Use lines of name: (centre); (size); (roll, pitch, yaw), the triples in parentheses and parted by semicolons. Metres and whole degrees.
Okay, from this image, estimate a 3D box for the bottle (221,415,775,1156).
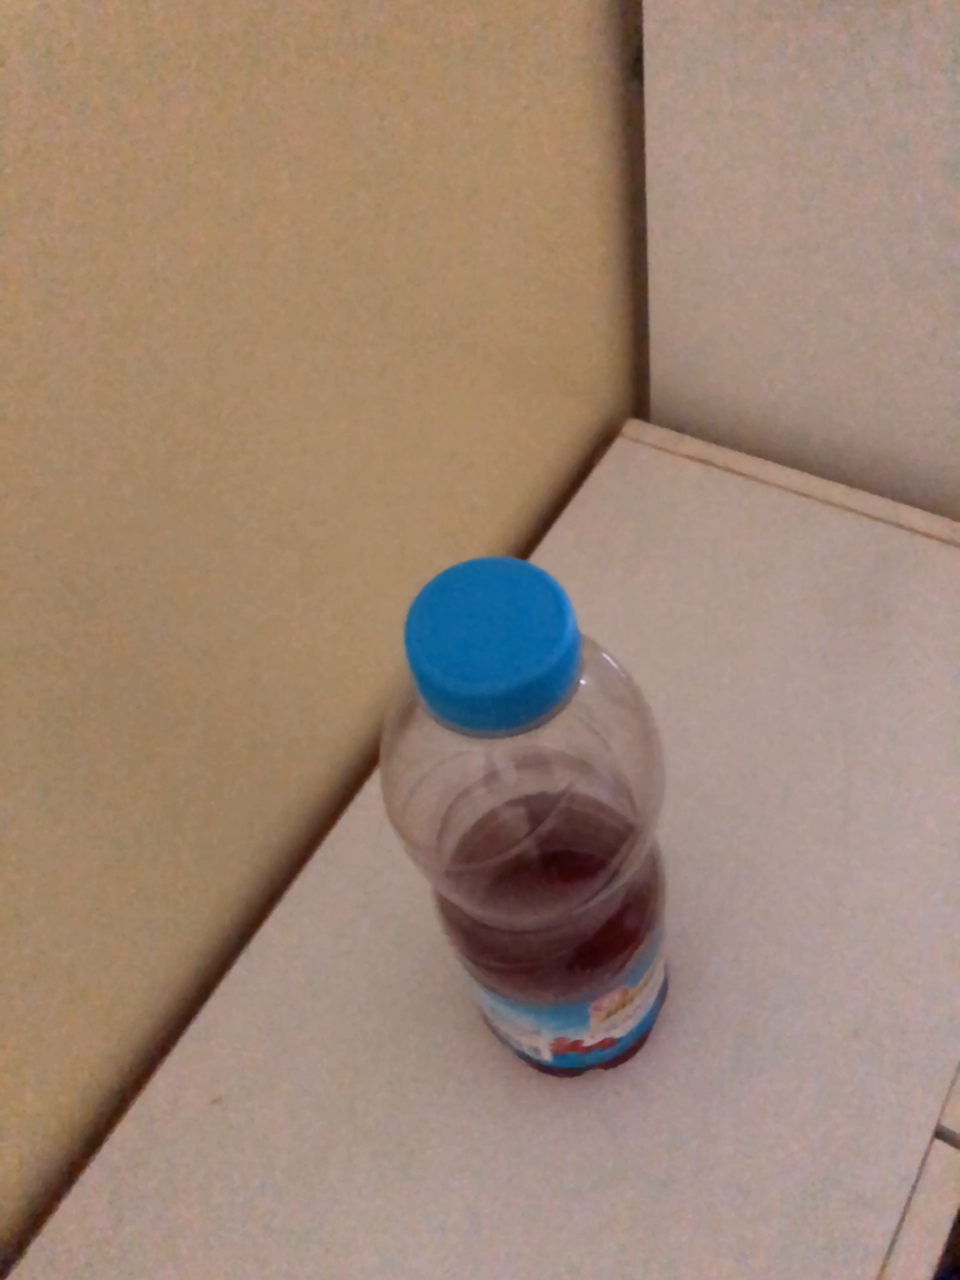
bottle: (0.023, 0.071, 0.329); (0.080, 0.269, 0.090); (26, 63, 25)
